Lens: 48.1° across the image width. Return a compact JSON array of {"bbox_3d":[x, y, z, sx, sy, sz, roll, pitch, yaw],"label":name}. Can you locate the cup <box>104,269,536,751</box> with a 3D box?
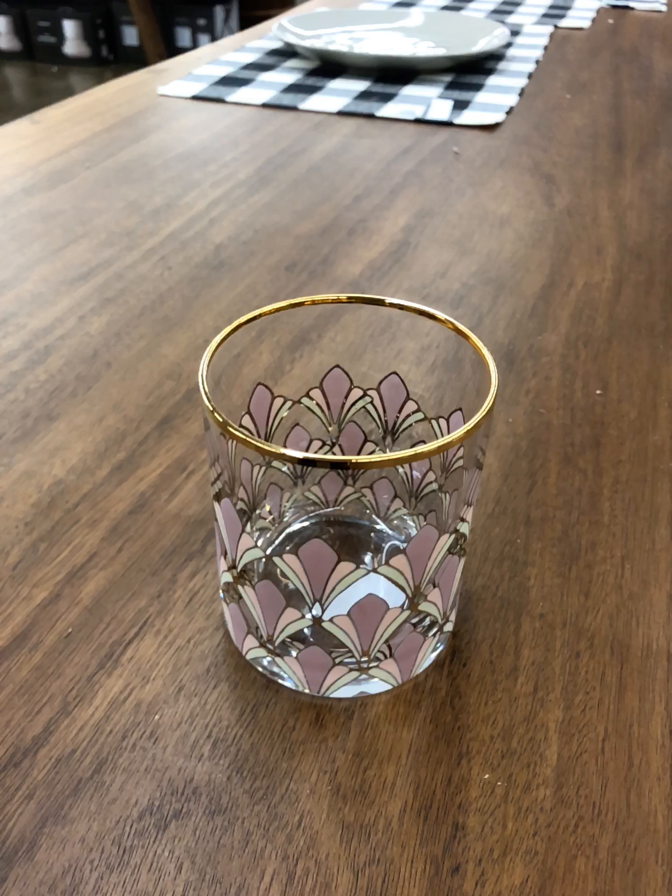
[{"bbox_3d":[0.000,0.014,0.220,0.083,0.090,0.080,1,38,0],"label":"cup"}]
